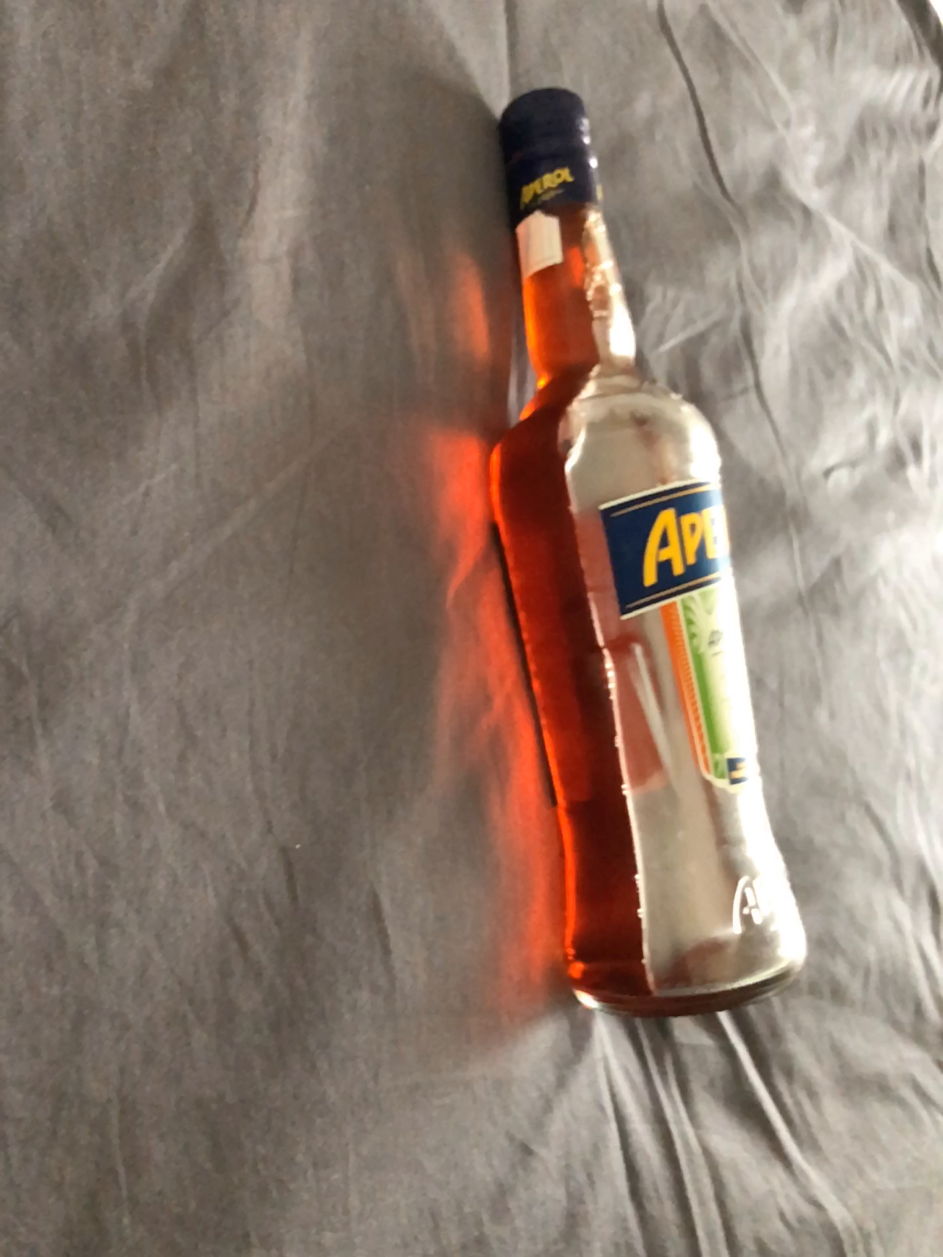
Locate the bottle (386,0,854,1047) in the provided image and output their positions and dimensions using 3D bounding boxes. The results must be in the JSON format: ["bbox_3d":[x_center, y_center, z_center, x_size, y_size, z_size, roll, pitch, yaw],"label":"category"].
[{"bbox_3d":[0.051,-0.040,0.358,0.101,0.070,0.320,-2,82,-49],"label":"bottle"}]
